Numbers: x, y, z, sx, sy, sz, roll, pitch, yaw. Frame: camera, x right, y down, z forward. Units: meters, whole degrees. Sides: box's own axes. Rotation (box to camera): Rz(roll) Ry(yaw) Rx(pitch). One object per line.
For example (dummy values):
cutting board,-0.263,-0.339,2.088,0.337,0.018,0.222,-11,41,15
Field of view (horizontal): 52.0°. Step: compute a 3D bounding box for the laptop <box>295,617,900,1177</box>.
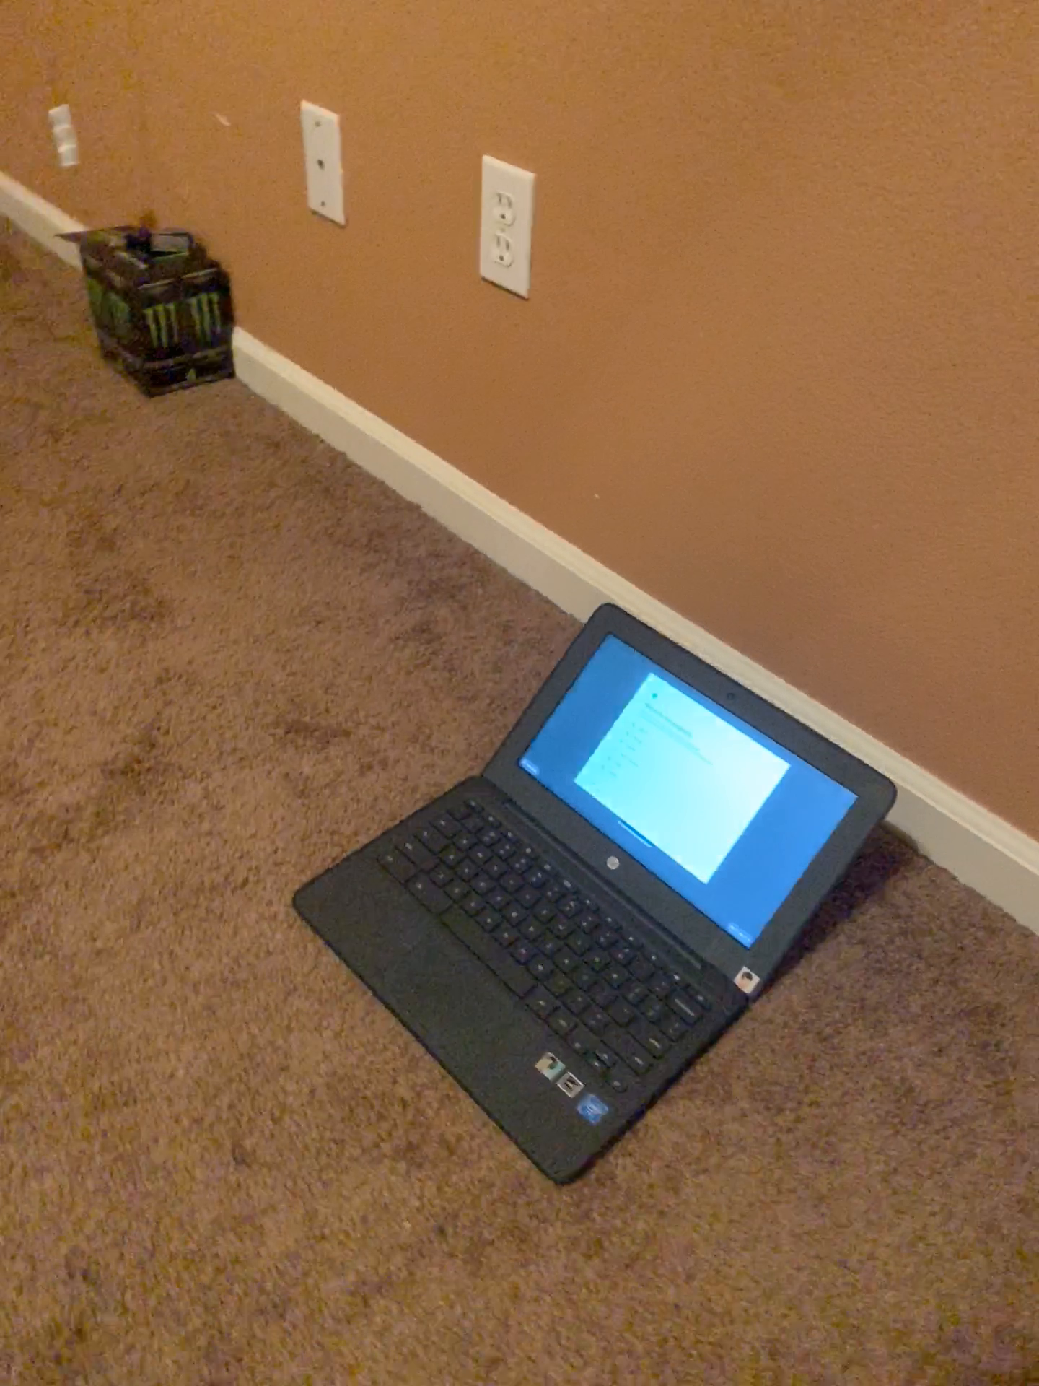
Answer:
laptop,0.057,0.122,0.808,0.332,0.124,0.289,-30,51,-33
